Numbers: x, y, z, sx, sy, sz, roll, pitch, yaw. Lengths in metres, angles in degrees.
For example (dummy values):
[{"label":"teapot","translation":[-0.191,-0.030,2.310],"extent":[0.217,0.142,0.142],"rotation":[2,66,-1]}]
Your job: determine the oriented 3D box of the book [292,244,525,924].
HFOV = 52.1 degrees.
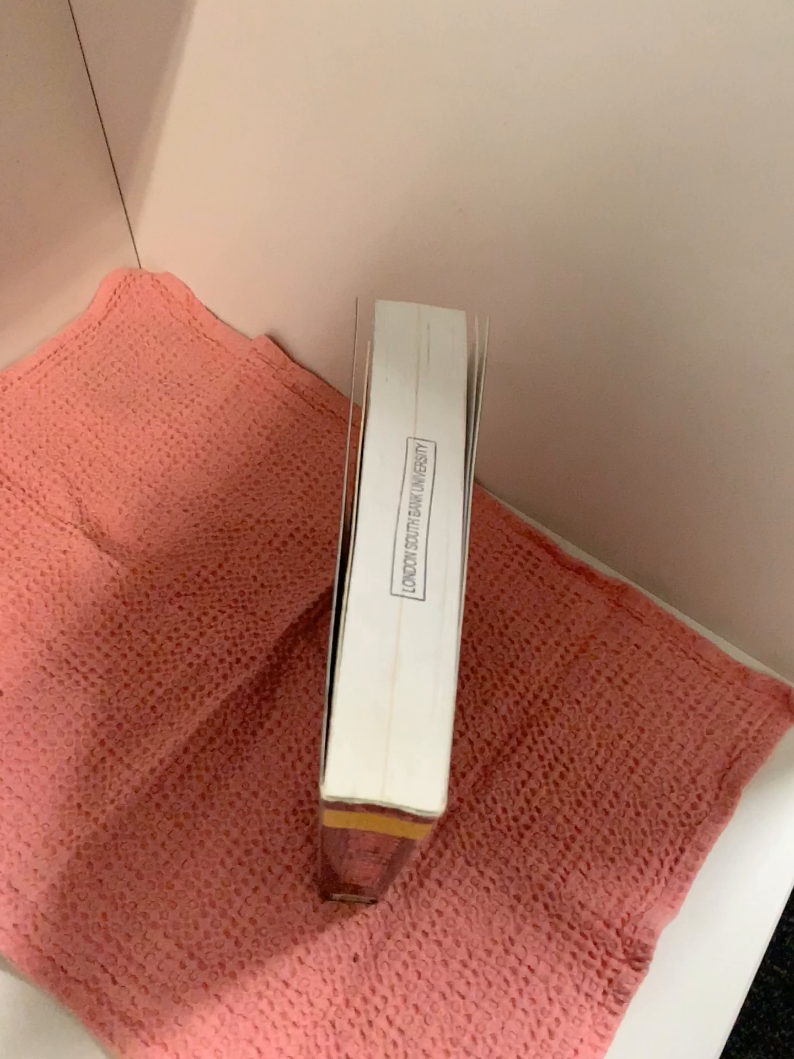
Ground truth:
[{"label":"book","translation":[0.000,0.042,0.363],"extent":[0.060,0.228,0.222],"rotation":[5,60,-3]}]
